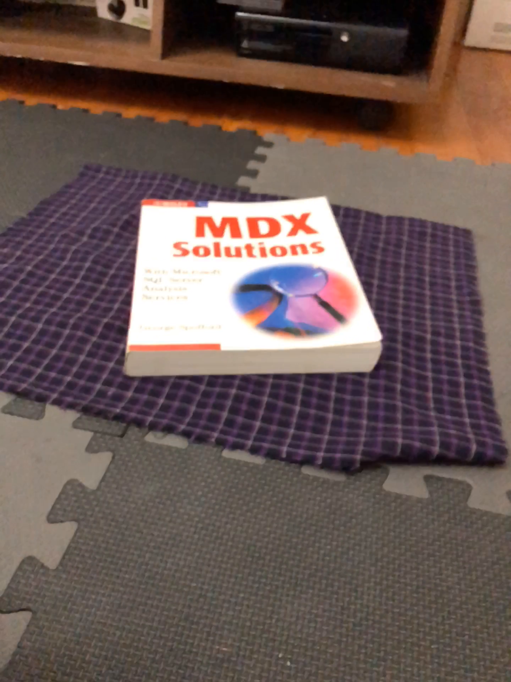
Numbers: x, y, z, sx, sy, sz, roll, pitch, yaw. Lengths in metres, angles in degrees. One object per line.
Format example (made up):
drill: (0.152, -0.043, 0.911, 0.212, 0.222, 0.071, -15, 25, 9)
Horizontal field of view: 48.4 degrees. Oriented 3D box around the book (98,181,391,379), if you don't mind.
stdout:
book: (-0.020, -0.074, 0.541, 0.220, 0.050, 0.261, -1, 39, -7)
